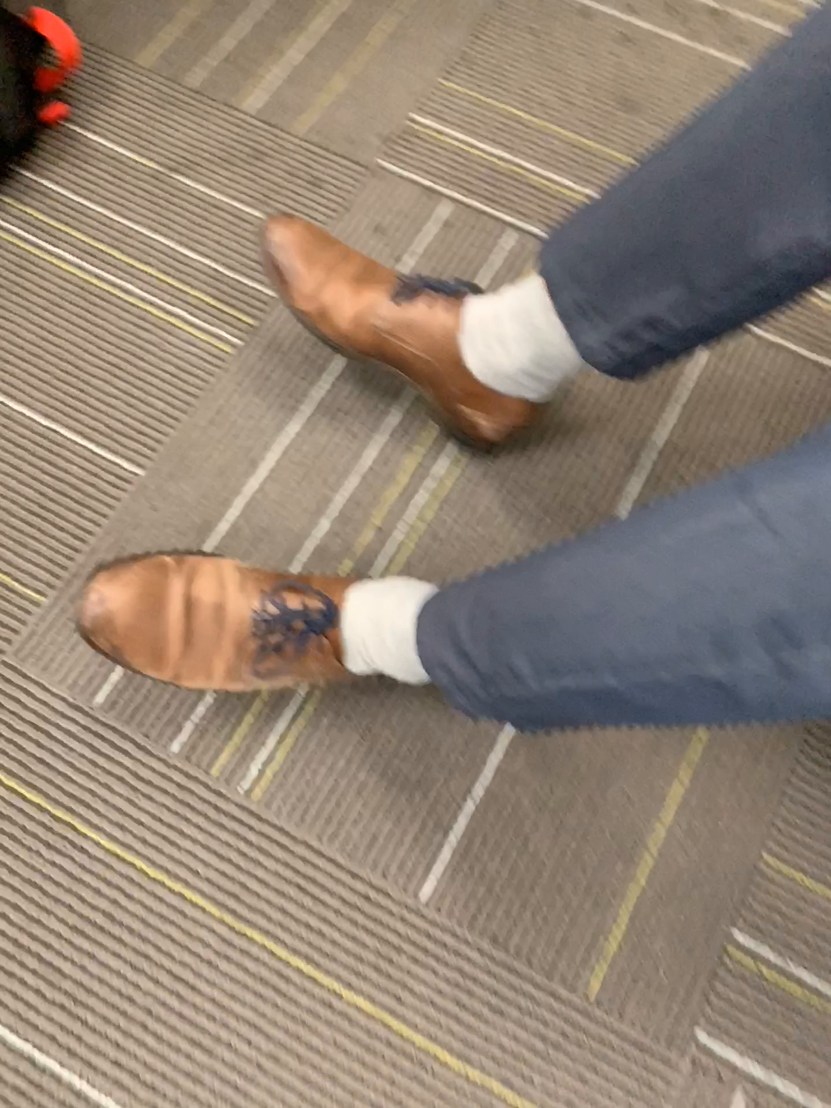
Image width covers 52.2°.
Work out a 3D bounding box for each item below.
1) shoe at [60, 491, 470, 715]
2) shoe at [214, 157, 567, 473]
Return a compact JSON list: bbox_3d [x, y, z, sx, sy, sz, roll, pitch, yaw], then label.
[{"bbox_3d":[-0.106,0.043,0.630,0.271,0.084,0.121,9,81,-19],"label":"shoe"},{"bbox_3d":[-0.016,-0.201,0.726,0.281,0.074,0.103,34,50,-9],"label":"shoe"}]
